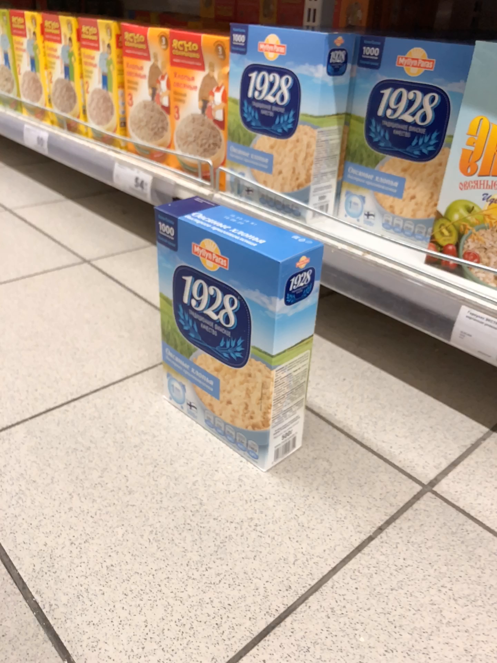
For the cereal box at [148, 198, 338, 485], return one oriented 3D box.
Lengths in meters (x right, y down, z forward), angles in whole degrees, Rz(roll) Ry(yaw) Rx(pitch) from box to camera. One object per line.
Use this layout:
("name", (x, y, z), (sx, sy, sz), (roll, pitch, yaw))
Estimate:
("cereal box", (-0.012, 0.005, 0.483), (0.150, 0.199, 0.060), (29, 40, 36))
